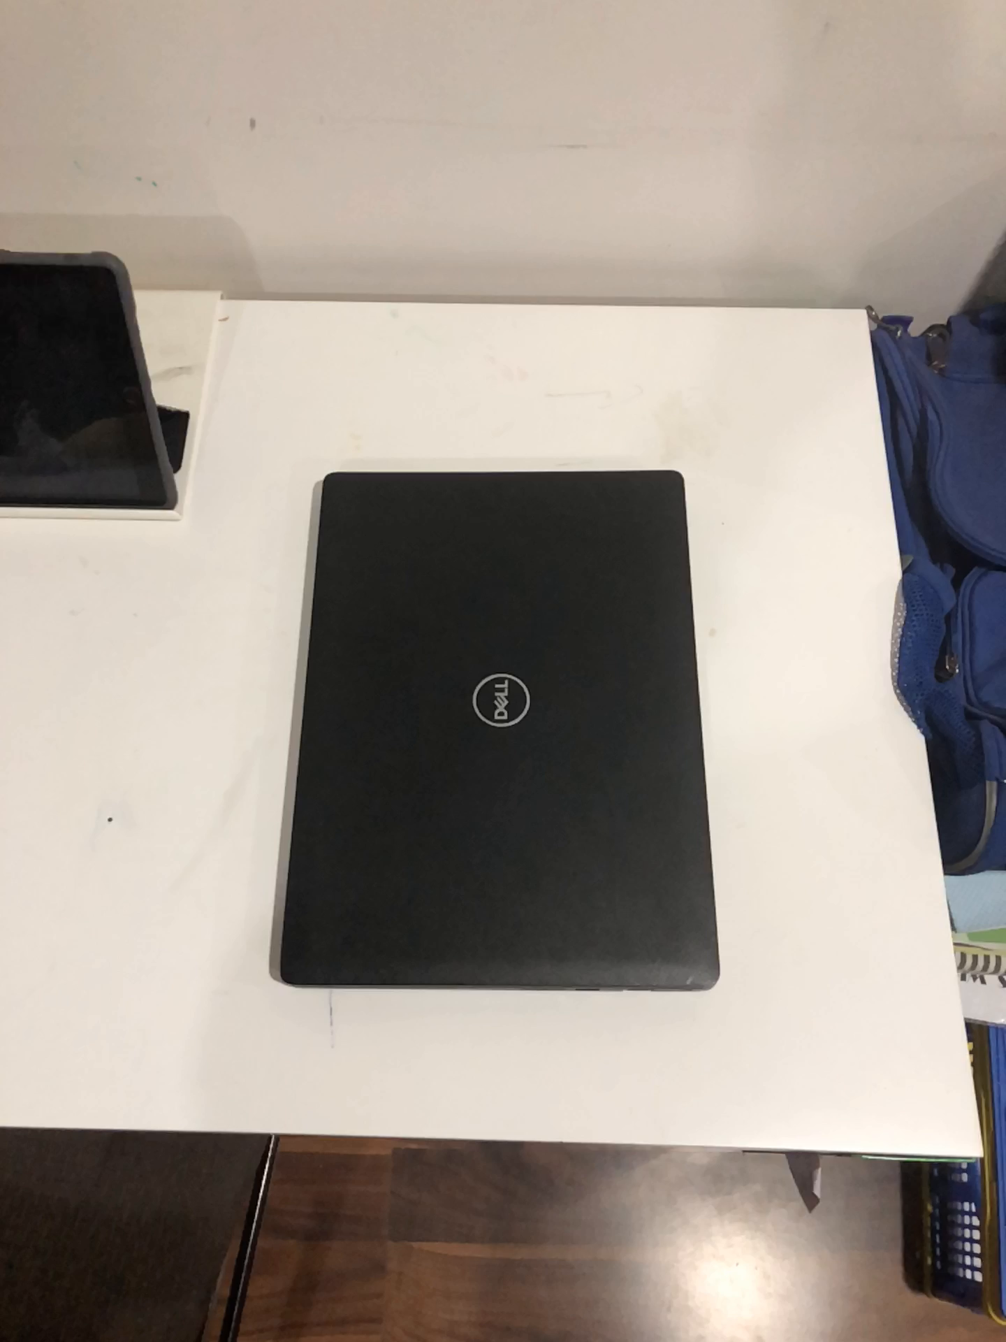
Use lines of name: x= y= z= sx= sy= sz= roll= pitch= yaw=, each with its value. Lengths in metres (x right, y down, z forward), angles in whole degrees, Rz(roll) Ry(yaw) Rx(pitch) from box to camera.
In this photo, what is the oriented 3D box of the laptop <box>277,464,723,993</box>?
laptop: x=-0.002 y=0.020 z=0.666 sx=0.241 sy=0.010 sz=0.333 roll=-1 pitch=66 yaw=3
